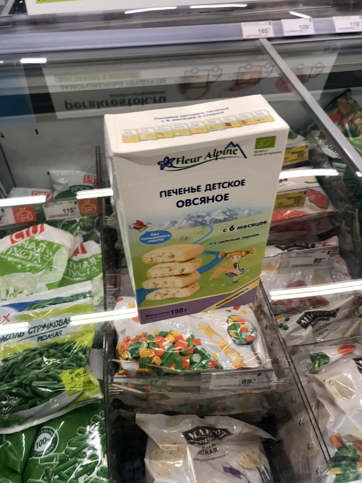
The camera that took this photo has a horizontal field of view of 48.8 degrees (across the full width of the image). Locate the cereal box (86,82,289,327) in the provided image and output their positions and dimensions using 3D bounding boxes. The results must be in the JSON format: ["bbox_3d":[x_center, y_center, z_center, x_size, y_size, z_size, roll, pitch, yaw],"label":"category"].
[{"bbox_3d":[0.004,-0.017,0.321,0.120,0.189,0.050,-11,47,-10],"label":"cereal box"}]
